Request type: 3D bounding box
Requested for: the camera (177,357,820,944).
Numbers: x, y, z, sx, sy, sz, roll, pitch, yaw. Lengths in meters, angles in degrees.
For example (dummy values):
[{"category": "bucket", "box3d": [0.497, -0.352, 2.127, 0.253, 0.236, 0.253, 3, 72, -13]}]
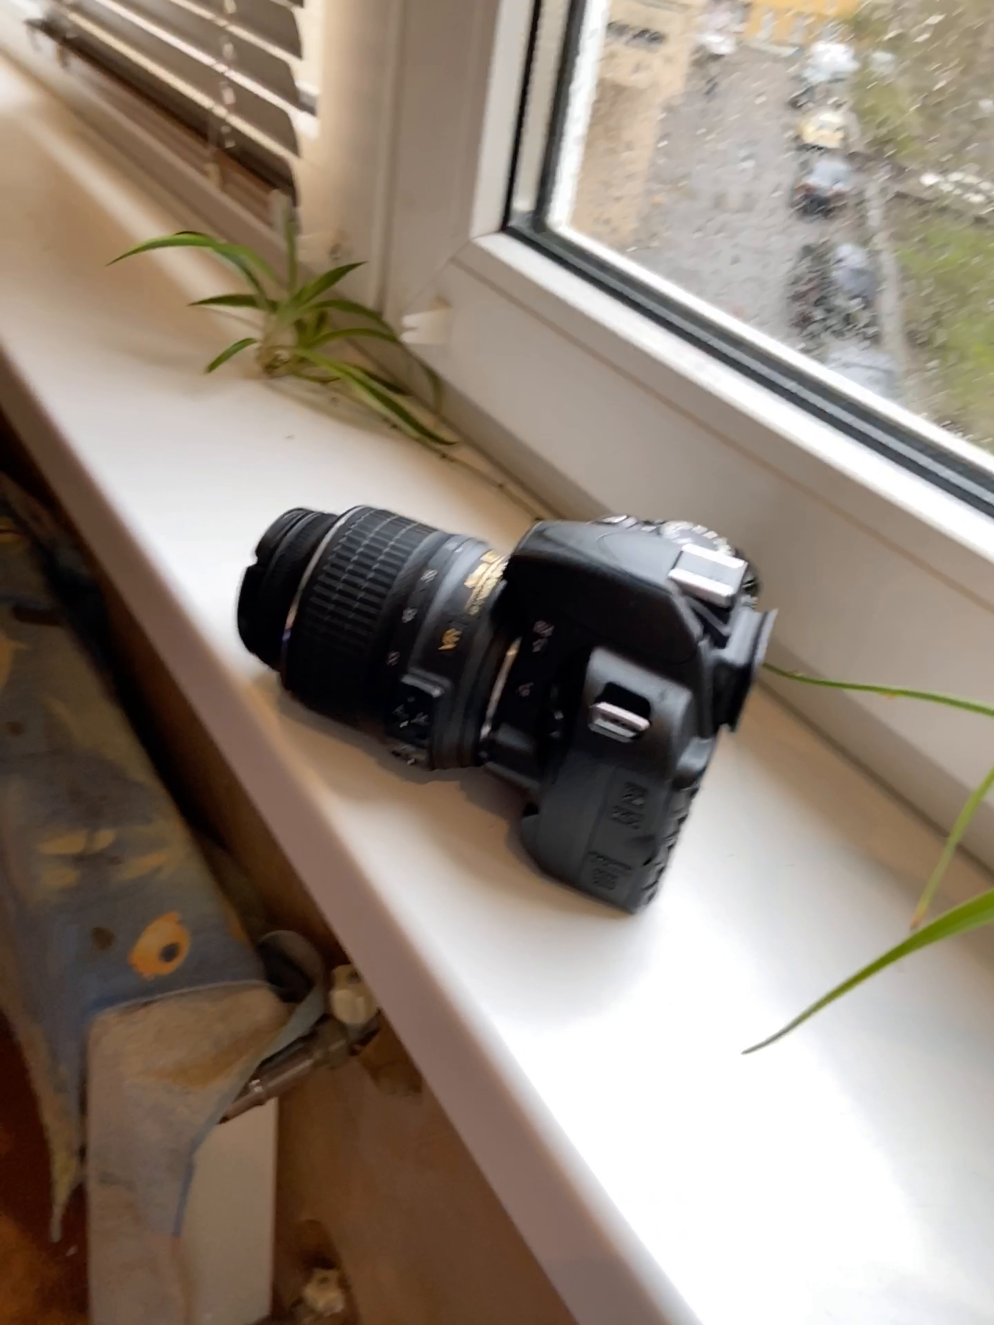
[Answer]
[{"category": "camera", "box3d": [0.003, -0.014, 0.330, 0.159, 0.092, 0.122, 21, 38, 12]}]
